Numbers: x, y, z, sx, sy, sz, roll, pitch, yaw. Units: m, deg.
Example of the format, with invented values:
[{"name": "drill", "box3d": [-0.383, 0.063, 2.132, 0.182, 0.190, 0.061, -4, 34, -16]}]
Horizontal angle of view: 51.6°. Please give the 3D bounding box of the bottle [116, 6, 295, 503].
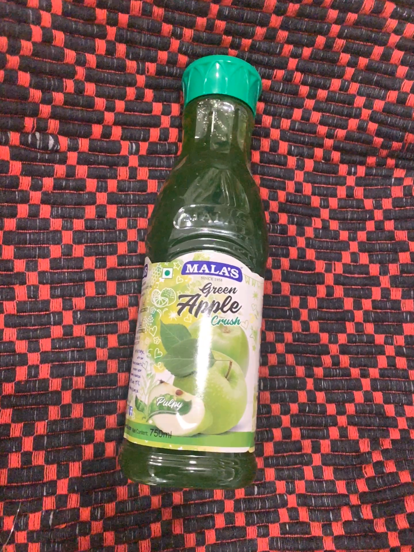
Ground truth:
[{"name": "bottle", "box3d": [0.001, -0.017, 0.245, 0.070, 0.070, 0.250, 8, 74, -12]}]
